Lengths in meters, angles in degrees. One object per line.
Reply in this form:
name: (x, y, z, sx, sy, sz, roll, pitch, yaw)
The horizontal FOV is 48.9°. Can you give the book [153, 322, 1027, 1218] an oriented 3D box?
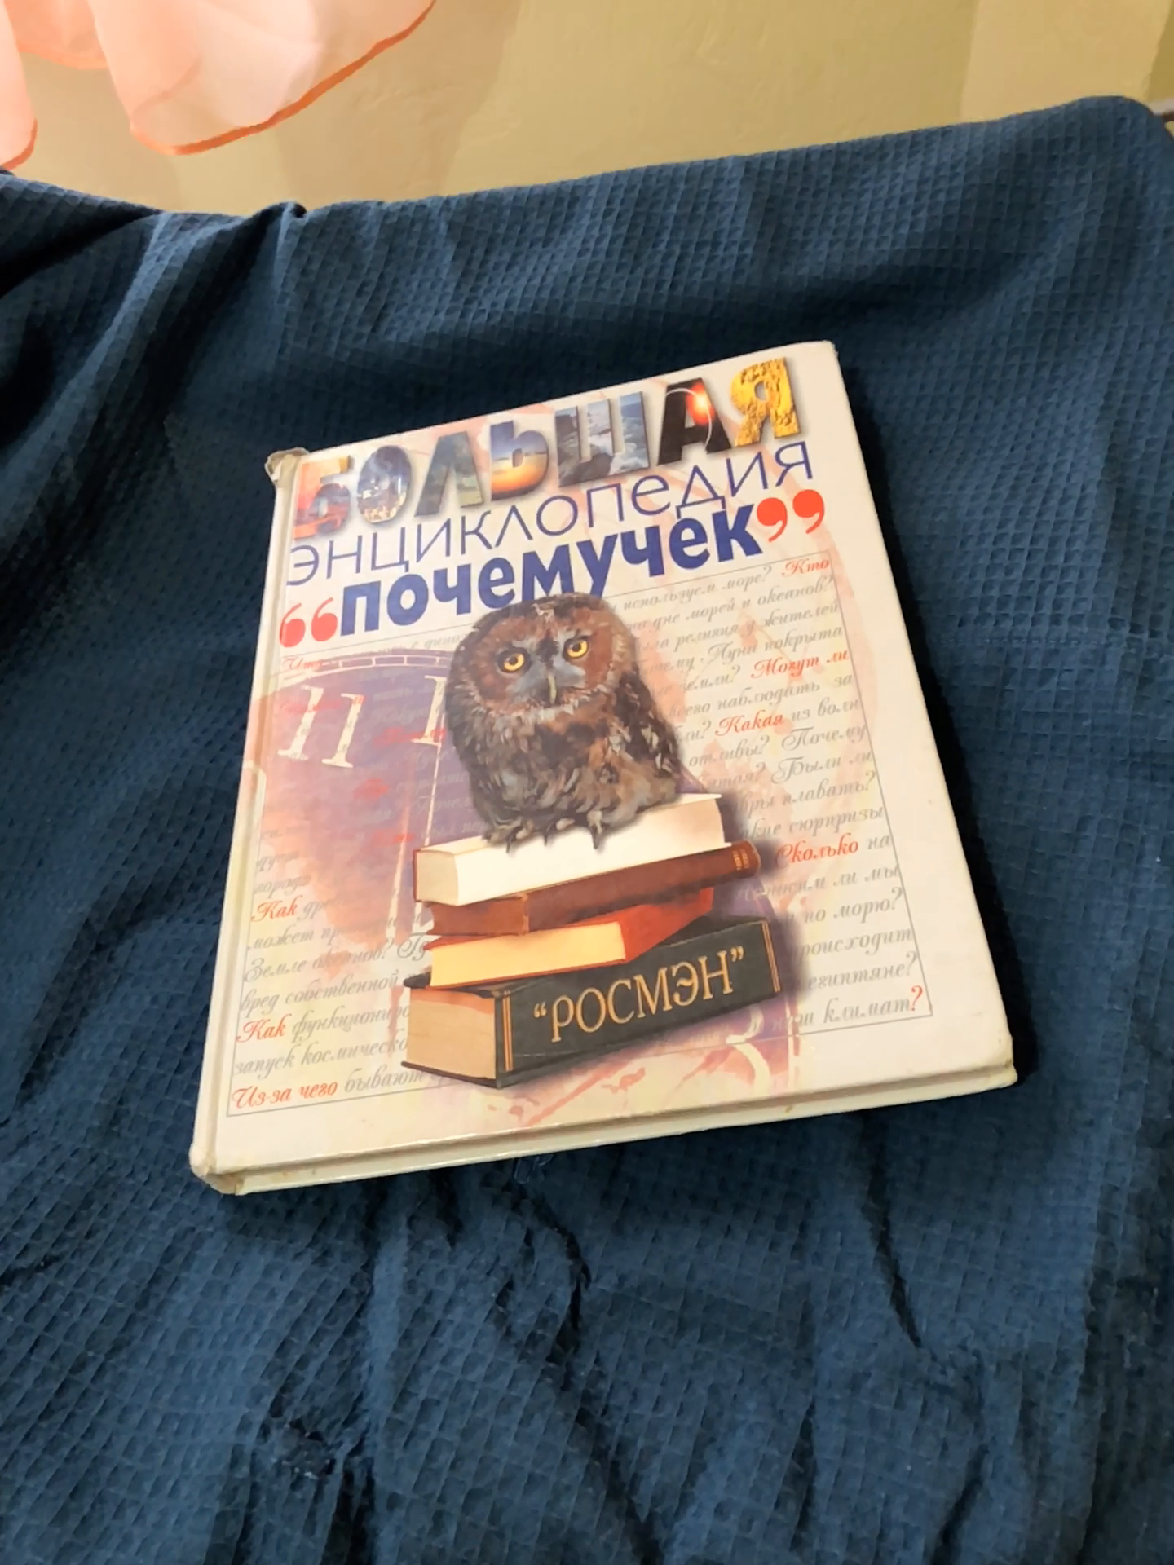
book: (-0.010, -0.025, 0.438, 0.235, 0.030, 0.306, -10, 54, 9)
